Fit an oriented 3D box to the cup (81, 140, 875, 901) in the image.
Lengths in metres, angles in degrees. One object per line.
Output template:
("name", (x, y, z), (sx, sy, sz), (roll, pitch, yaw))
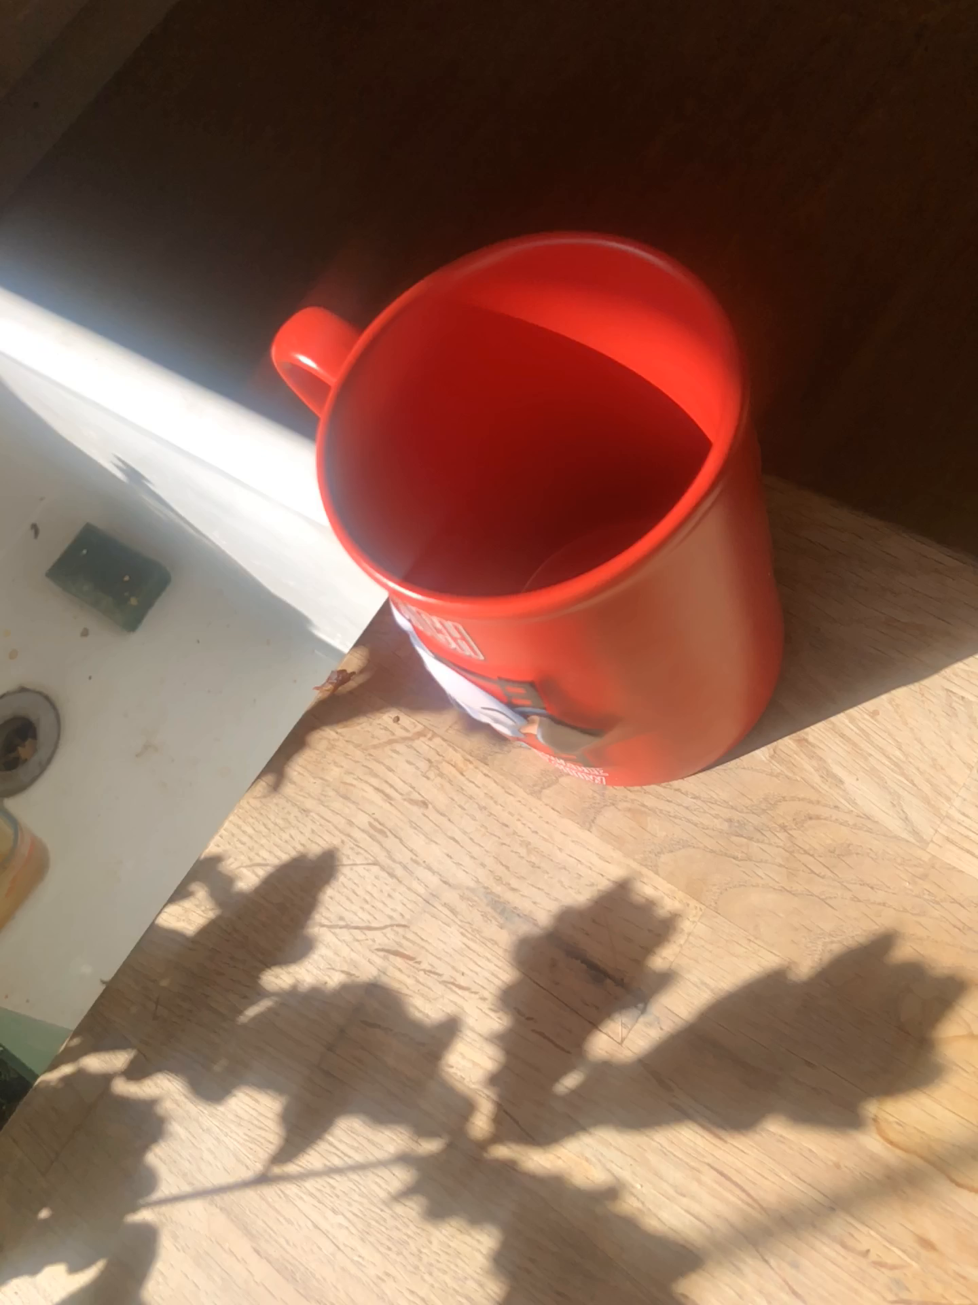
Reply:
("cup", (0.007, -0.027, 0.262), (0.131, 0.119, 0.095), (31, 81, 29))
